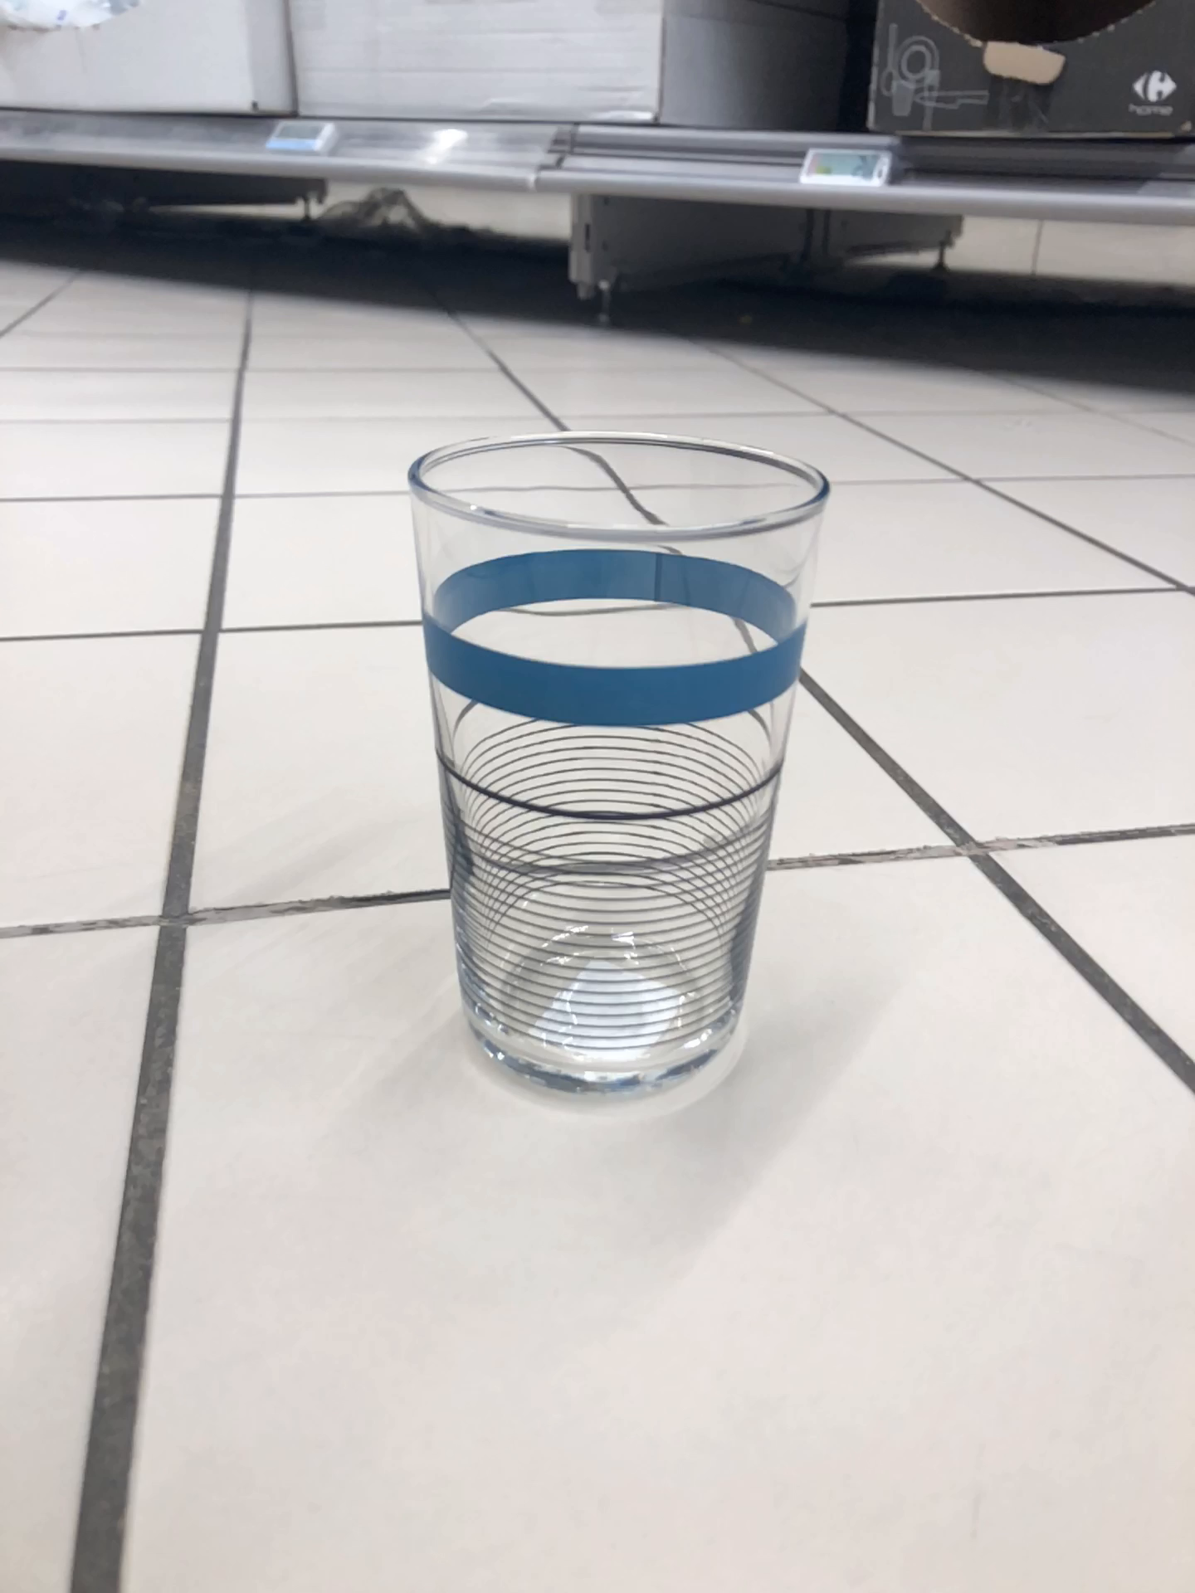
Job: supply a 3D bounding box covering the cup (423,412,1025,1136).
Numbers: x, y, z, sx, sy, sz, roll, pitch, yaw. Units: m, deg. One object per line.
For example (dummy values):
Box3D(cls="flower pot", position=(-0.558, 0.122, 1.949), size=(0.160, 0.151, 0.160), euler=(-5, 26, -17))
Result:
Box3D(cls="cup", position=(0.013, -0.010, 0.238), size=(0.079, 0.102, 0.080), euler=(1, 25, -1))
